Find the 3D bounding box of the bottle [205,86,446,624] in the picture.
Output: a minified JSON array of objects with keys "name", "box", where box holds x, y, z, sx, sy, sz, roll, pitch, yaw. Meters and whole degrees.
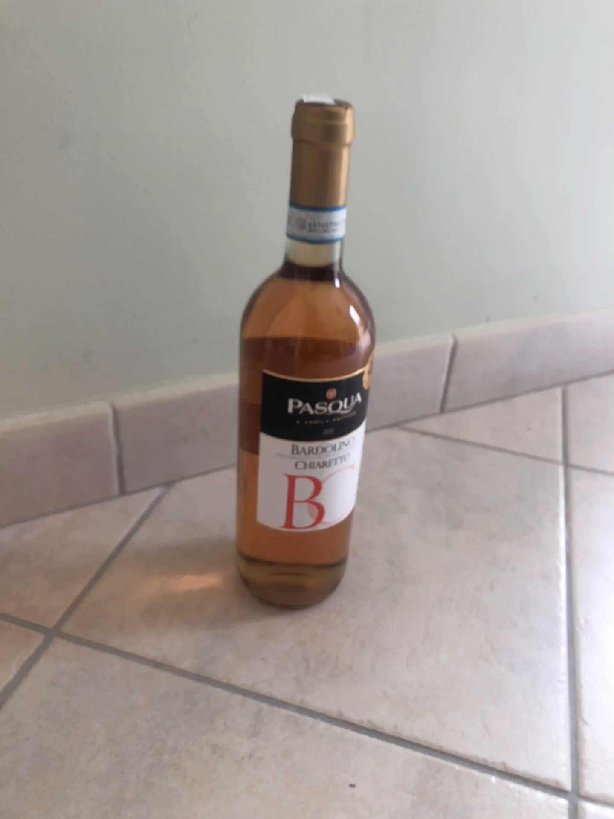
[{"name":"bottle","box":[-0.005,-0.018,0.365,0.080,0.268,0.080,3,32,-2]}]
